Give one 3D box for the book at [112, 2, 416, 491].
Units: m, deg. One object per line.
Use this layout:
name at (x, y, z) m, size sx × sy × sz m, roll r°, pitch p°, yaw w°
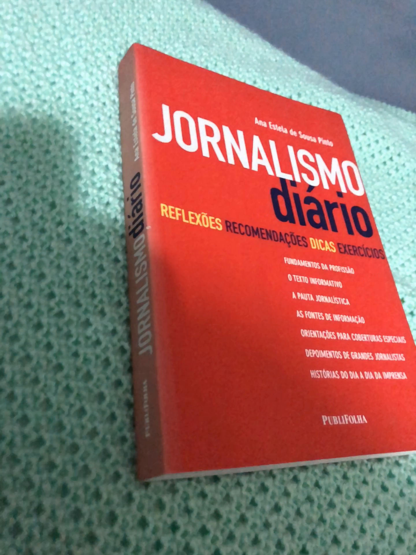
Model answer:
book at (0.033, -0.031, 0.250) m, size 0.161 × 0.030 × 0.251 m, roll 6°, pitch 60°, yaw -24°
